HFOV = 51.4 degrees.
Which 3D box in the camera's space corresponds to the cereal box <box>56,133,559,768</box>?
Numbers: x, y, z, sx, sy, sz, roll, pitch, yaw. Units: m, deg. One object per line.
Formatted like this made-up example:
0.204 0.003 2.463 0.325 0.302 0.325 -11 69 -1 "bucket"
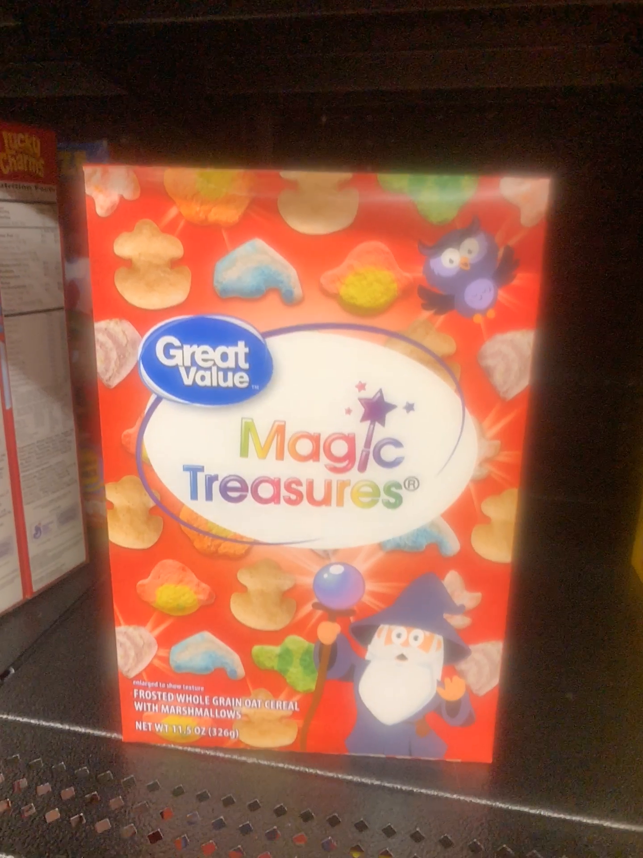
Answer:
-0.008 0.013 0.327 0.200 0.279 0.070 2 12 3 "cereal box"
